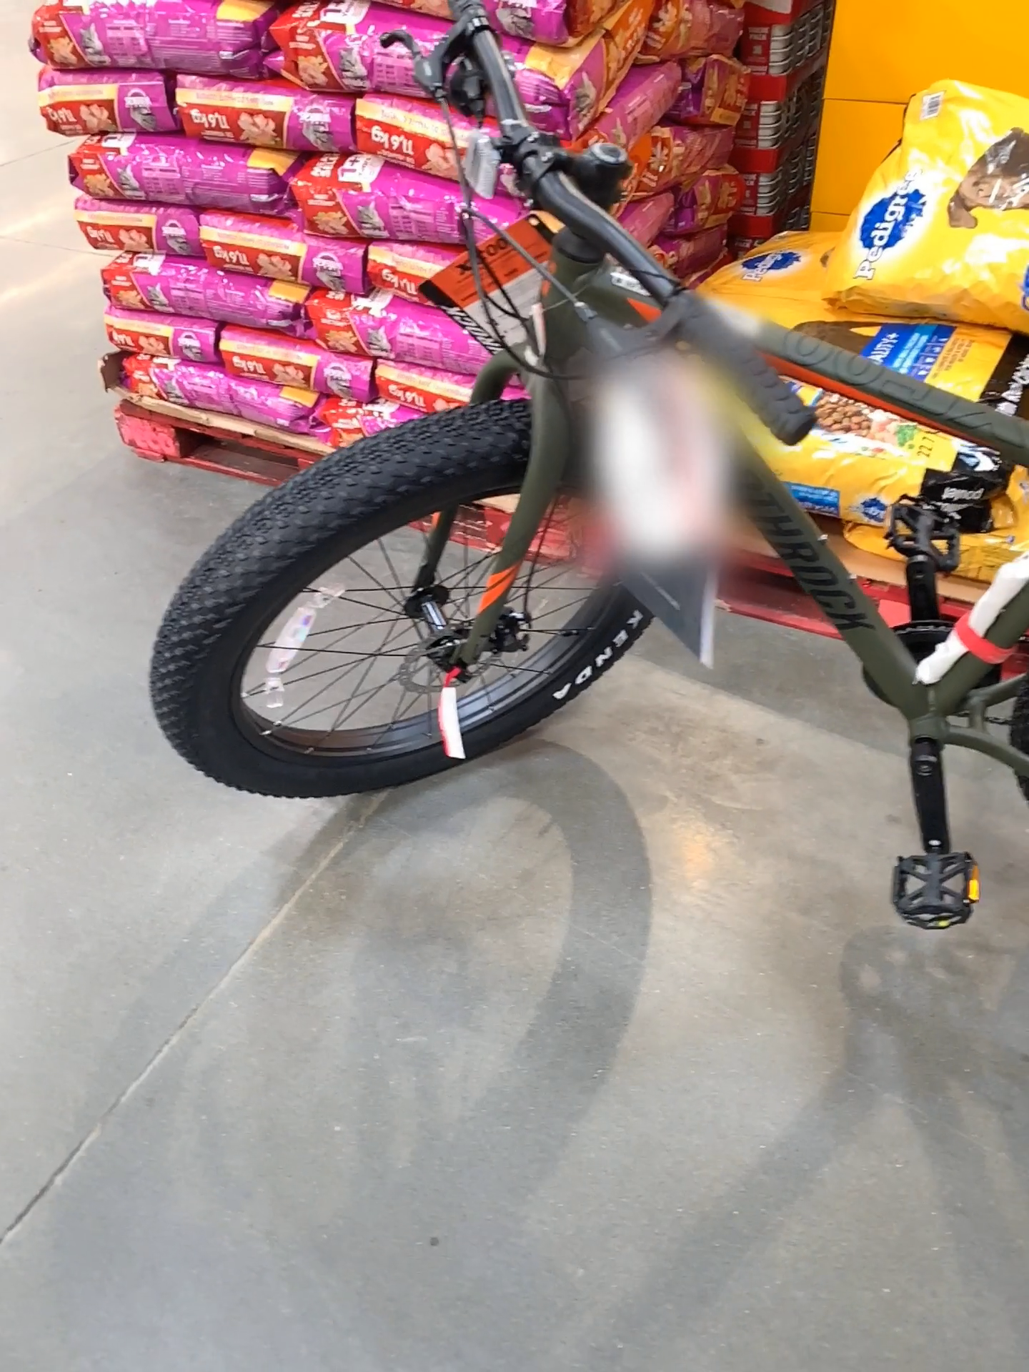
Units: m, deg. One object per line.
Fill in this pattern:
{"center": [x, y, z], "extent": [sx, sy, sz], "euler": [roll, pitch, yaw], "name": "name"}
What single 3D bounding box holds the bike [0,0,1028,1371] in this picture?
{"center": [0.446, 0.009, 0.799], "extent": [1.712, 1.203, 0.595], "euler": [2, 40, -5], "name": "bike"}
